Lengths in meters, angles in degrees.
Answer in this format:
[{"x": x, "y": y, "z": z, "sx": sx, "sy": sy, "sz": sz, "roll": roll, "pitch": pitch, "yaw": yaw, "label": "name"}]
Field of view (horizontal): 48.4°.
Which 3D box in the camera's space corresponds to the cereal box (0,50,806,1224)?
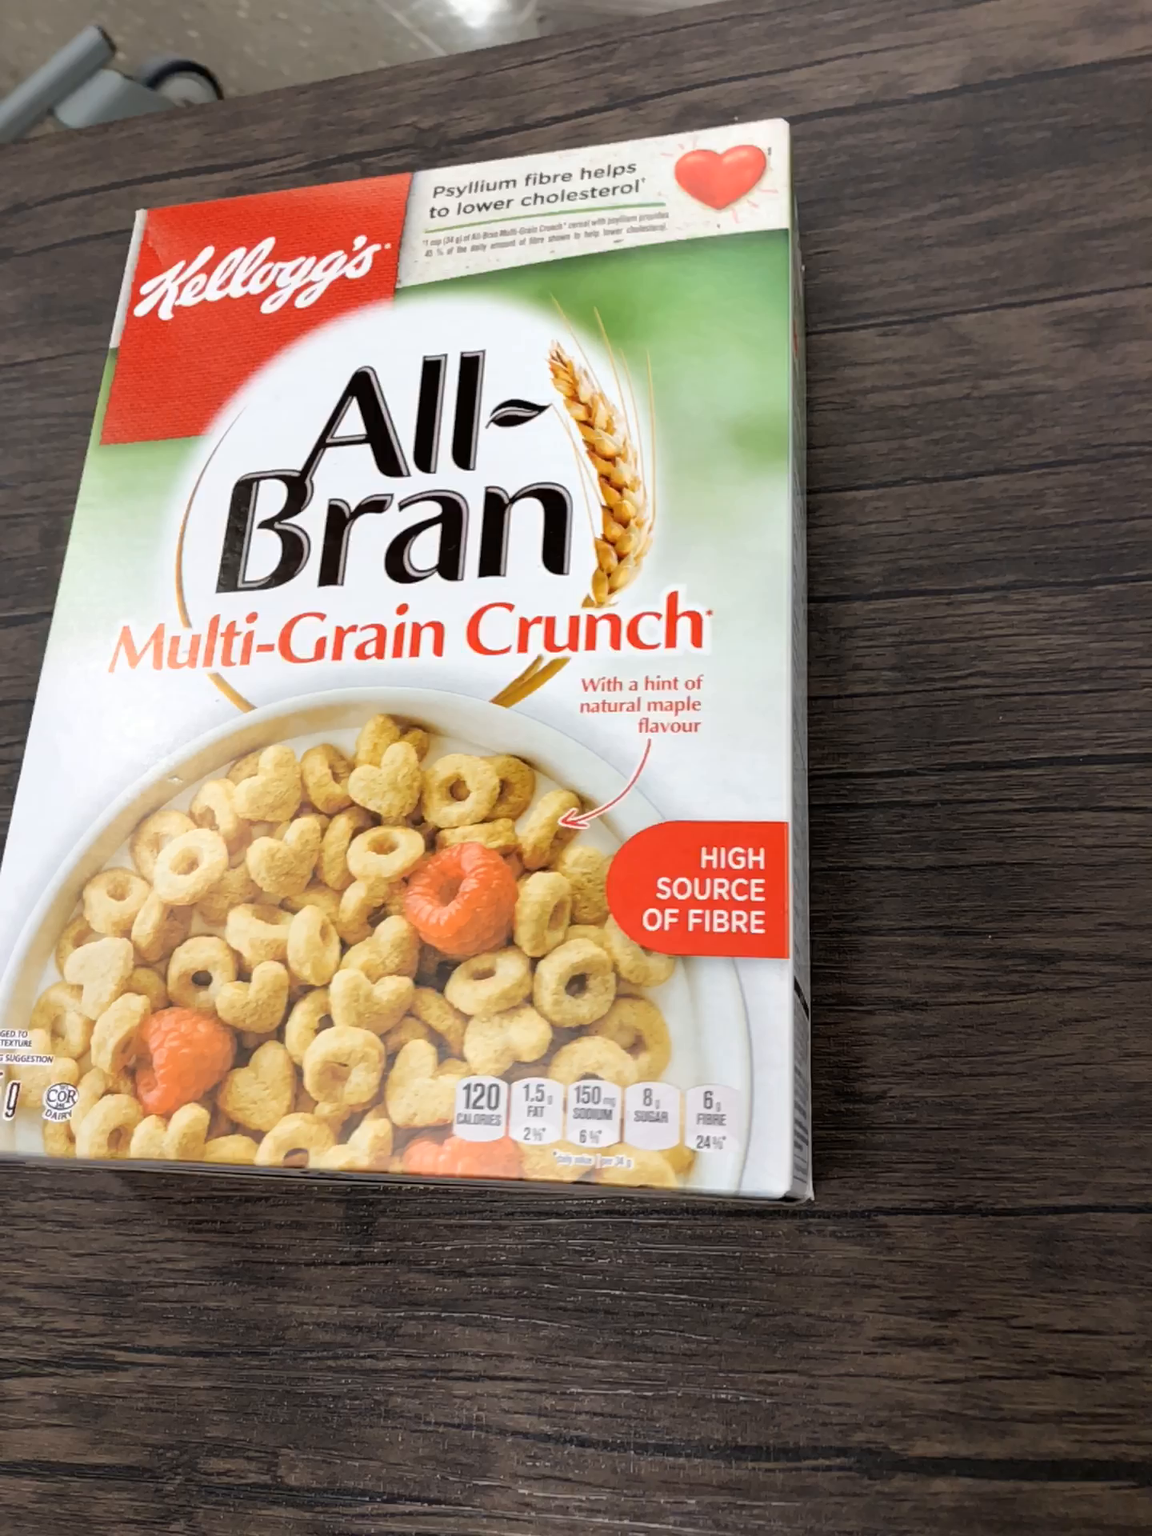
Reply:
[{"x": -0.046, "y": -0.042, "z": 0.353, "sx": 0.210, "sy": 0.070, "sz": 0.300, "roll": -1, "pitch": 68, "yaw": 14, "label": "cereal box"}]
